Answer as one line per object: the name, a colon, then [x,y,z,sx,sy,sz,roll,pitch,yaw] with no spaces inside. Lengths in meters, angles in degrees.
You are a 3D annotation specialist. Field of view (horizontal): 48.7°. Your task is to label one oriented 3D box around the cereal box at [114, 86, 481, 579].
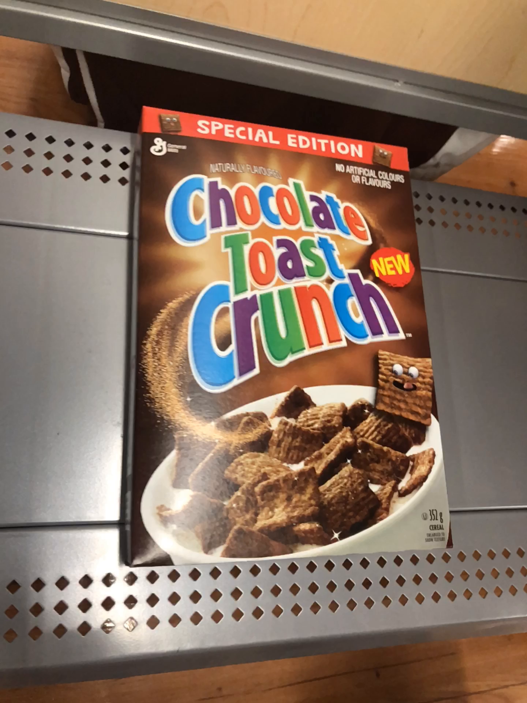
cereal box: [0.011,-0.011,0.392,0.200,0.090,0.290,3,71,-17]
